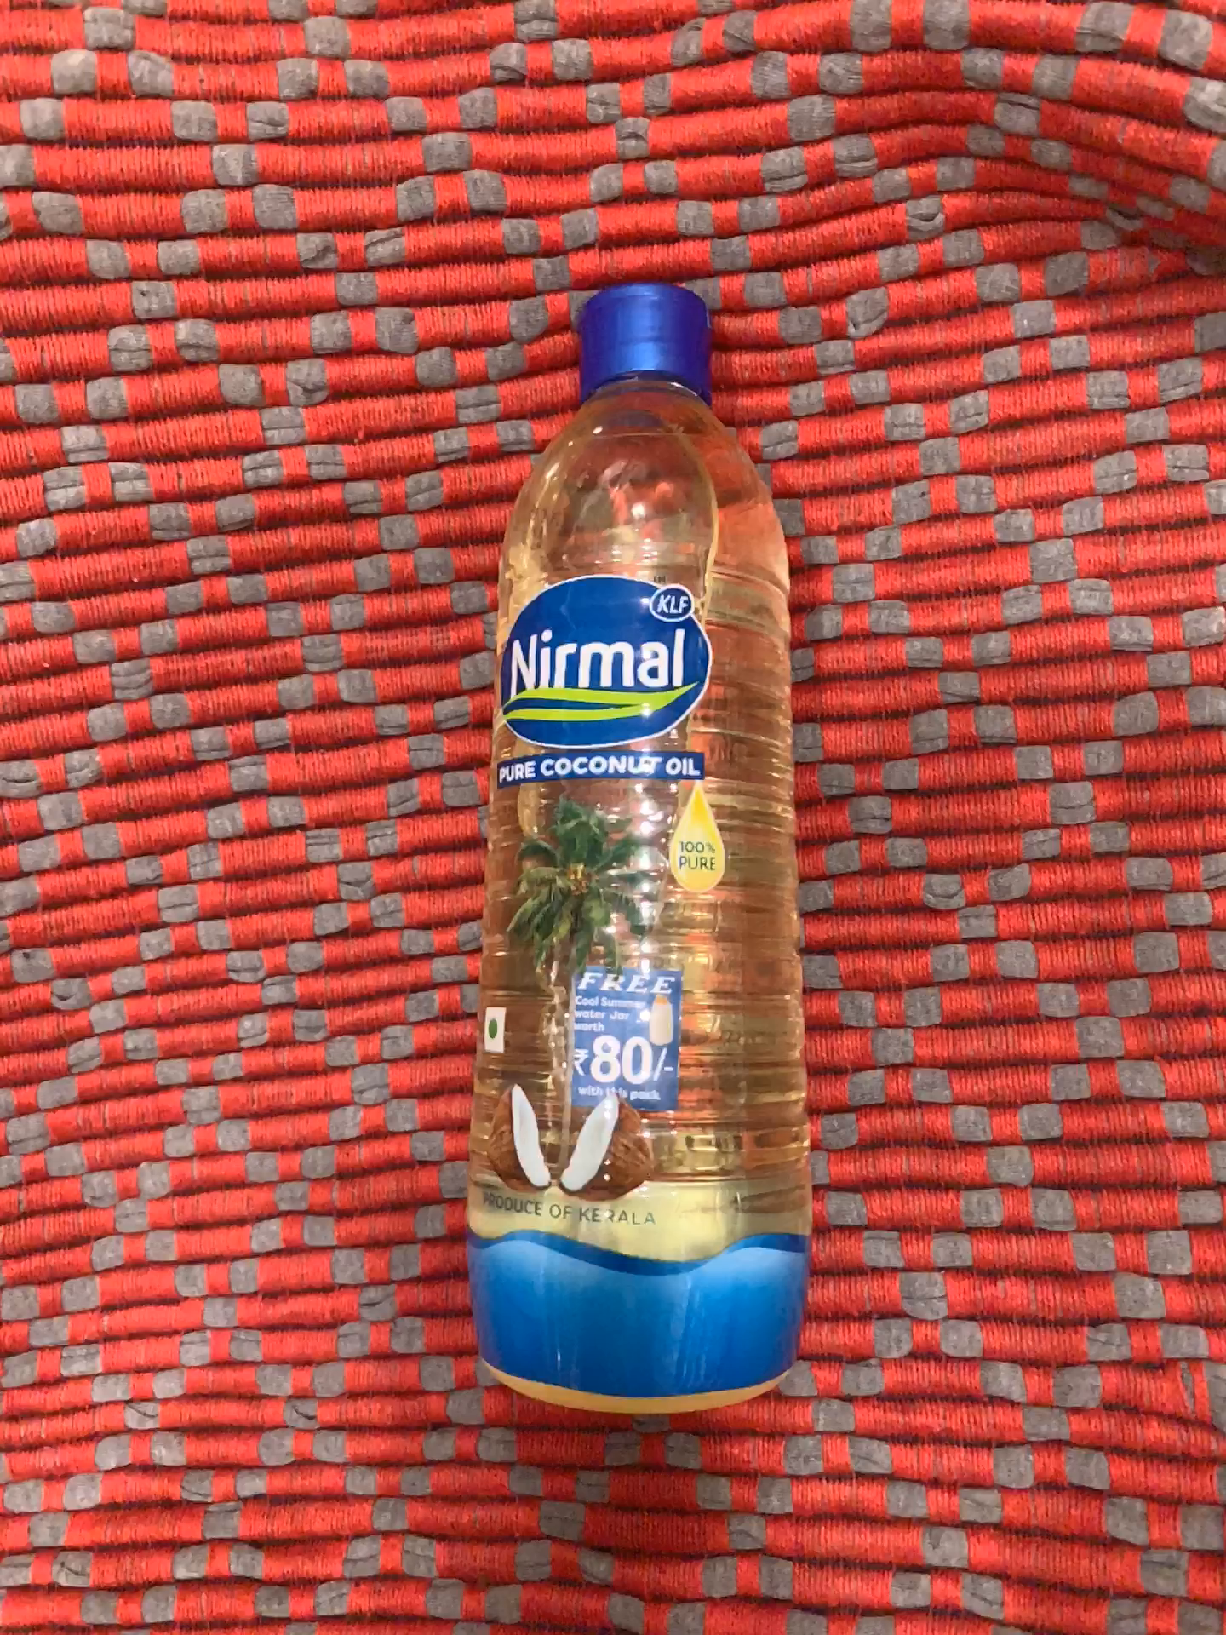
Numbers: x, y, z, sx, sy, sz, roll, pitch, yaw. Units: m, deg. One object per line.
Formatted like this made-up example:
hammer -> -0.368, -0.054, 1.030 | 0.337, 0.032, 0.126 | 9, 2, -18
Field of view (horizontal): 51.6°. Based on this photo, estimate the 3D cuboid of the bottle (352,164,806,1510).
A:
bottle -> -0.002, 0.000, 0.221 | 0.060, 0.050, 0.200 | -1, 84, 19
